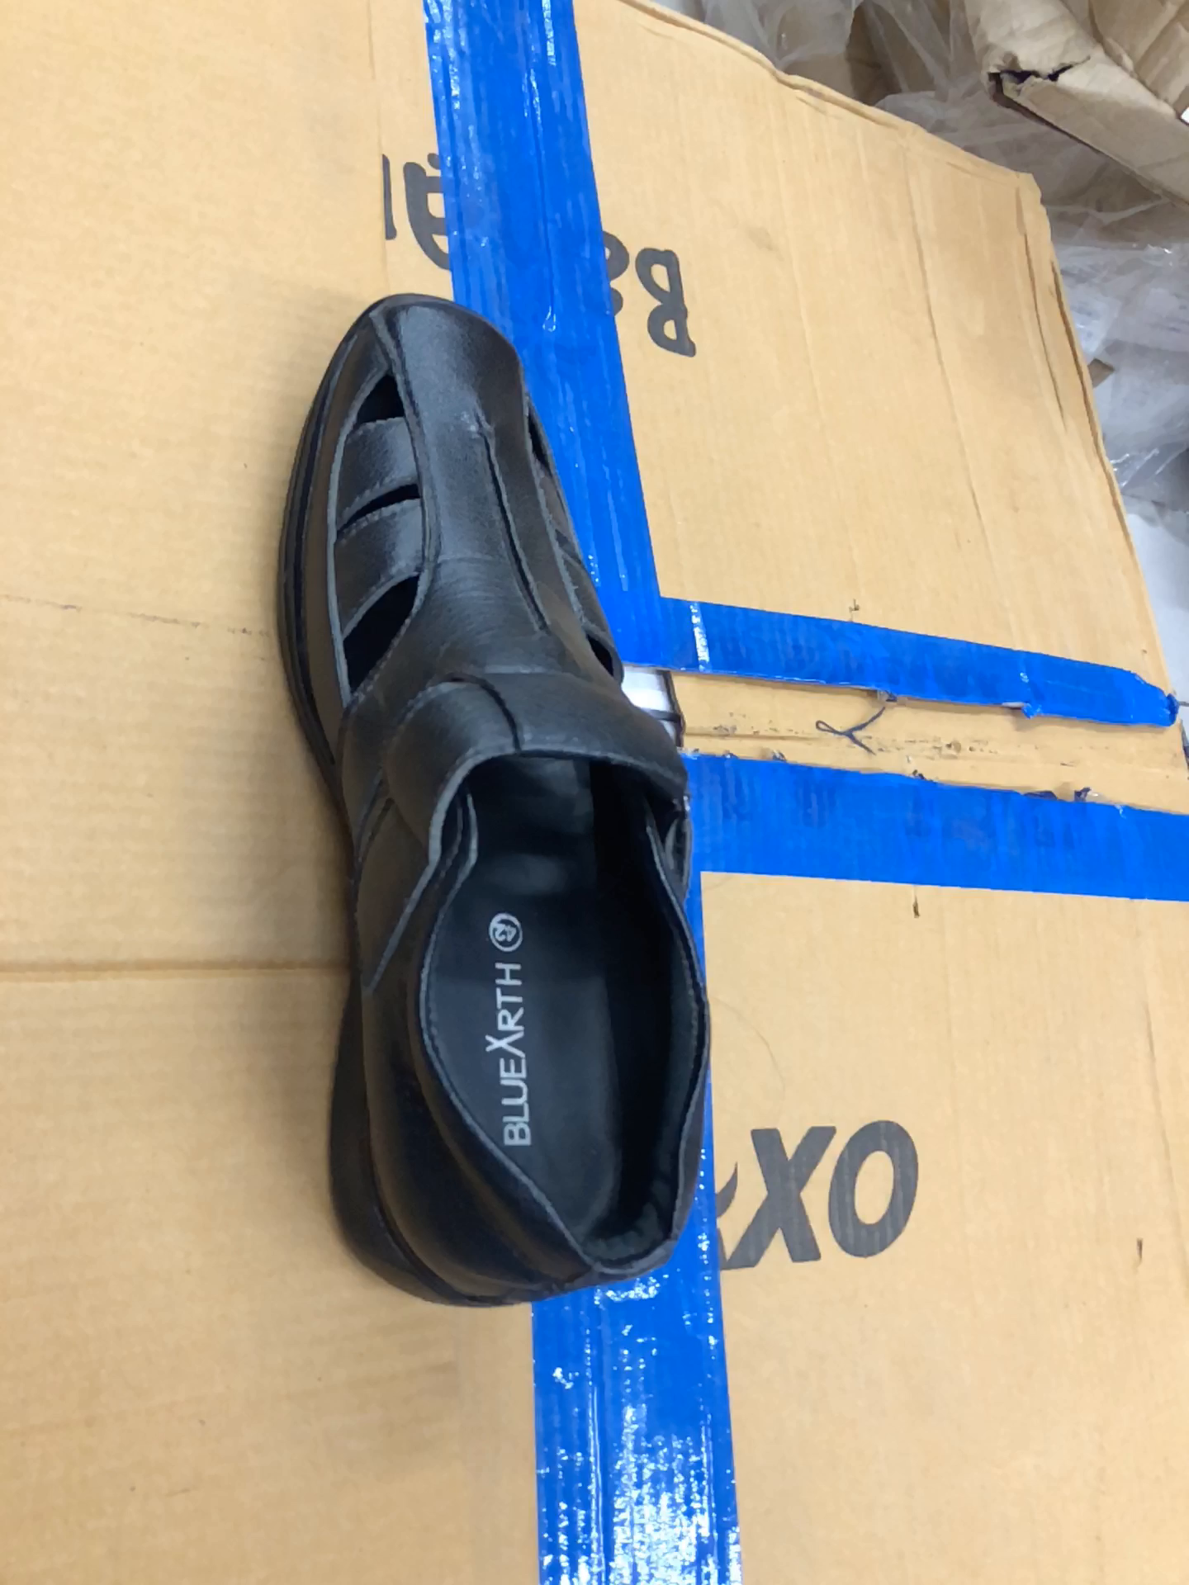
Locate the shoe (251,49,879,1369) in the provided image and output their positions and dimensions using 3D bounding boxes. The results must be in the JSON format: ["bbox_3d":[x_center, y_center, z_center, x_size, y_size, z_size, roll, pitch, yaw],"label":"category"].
[{"bbox_3d":[-0.020,-0.022,0.349,0.100,0.099,0.300,3,73,-32],"label":"shoe"}]
